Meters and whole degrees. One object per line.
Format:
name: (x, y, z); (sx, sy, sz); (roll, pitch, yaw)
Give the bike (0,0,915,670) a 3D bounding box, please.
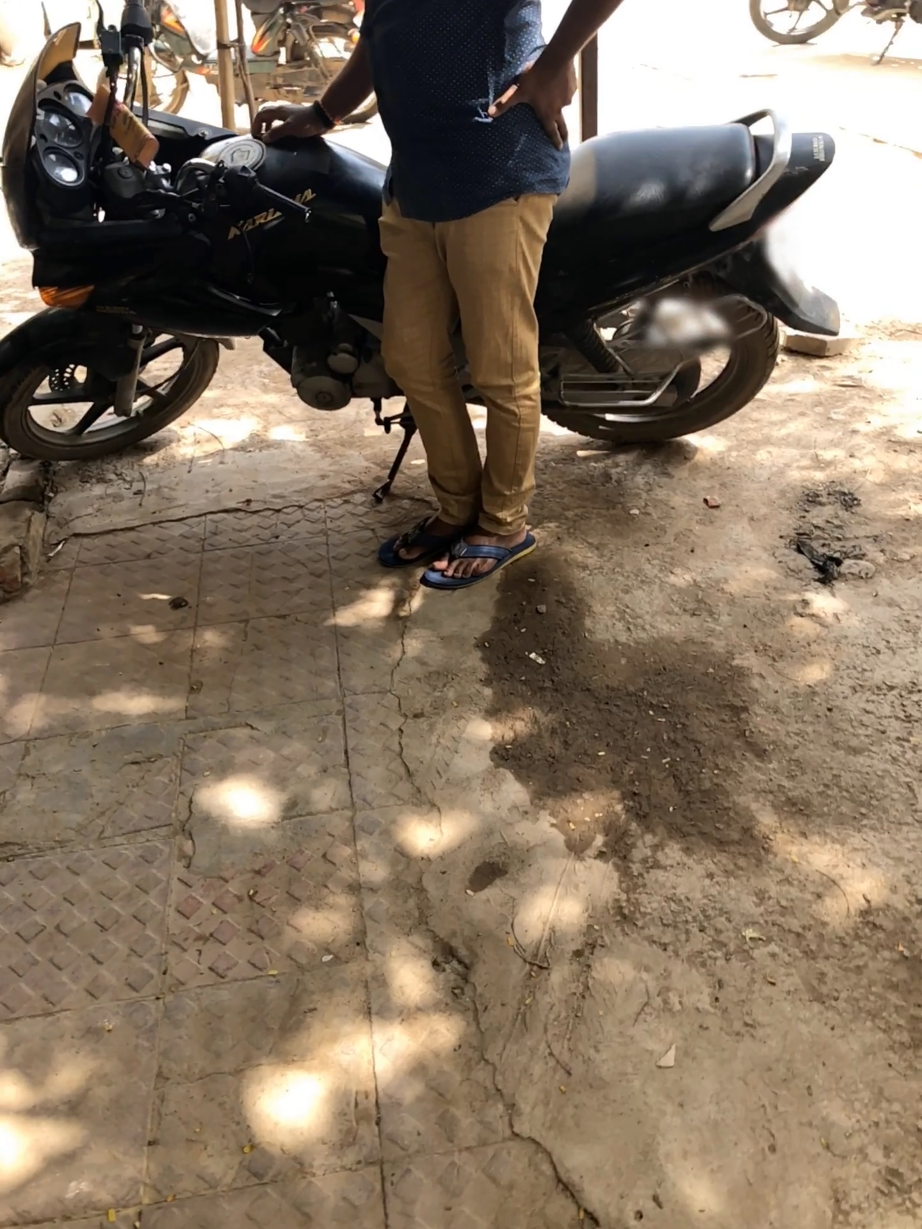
bike: (-0.257, -0.642, 2.015); (1.890, 1.177, 0.802); (-3, 38, 1)
